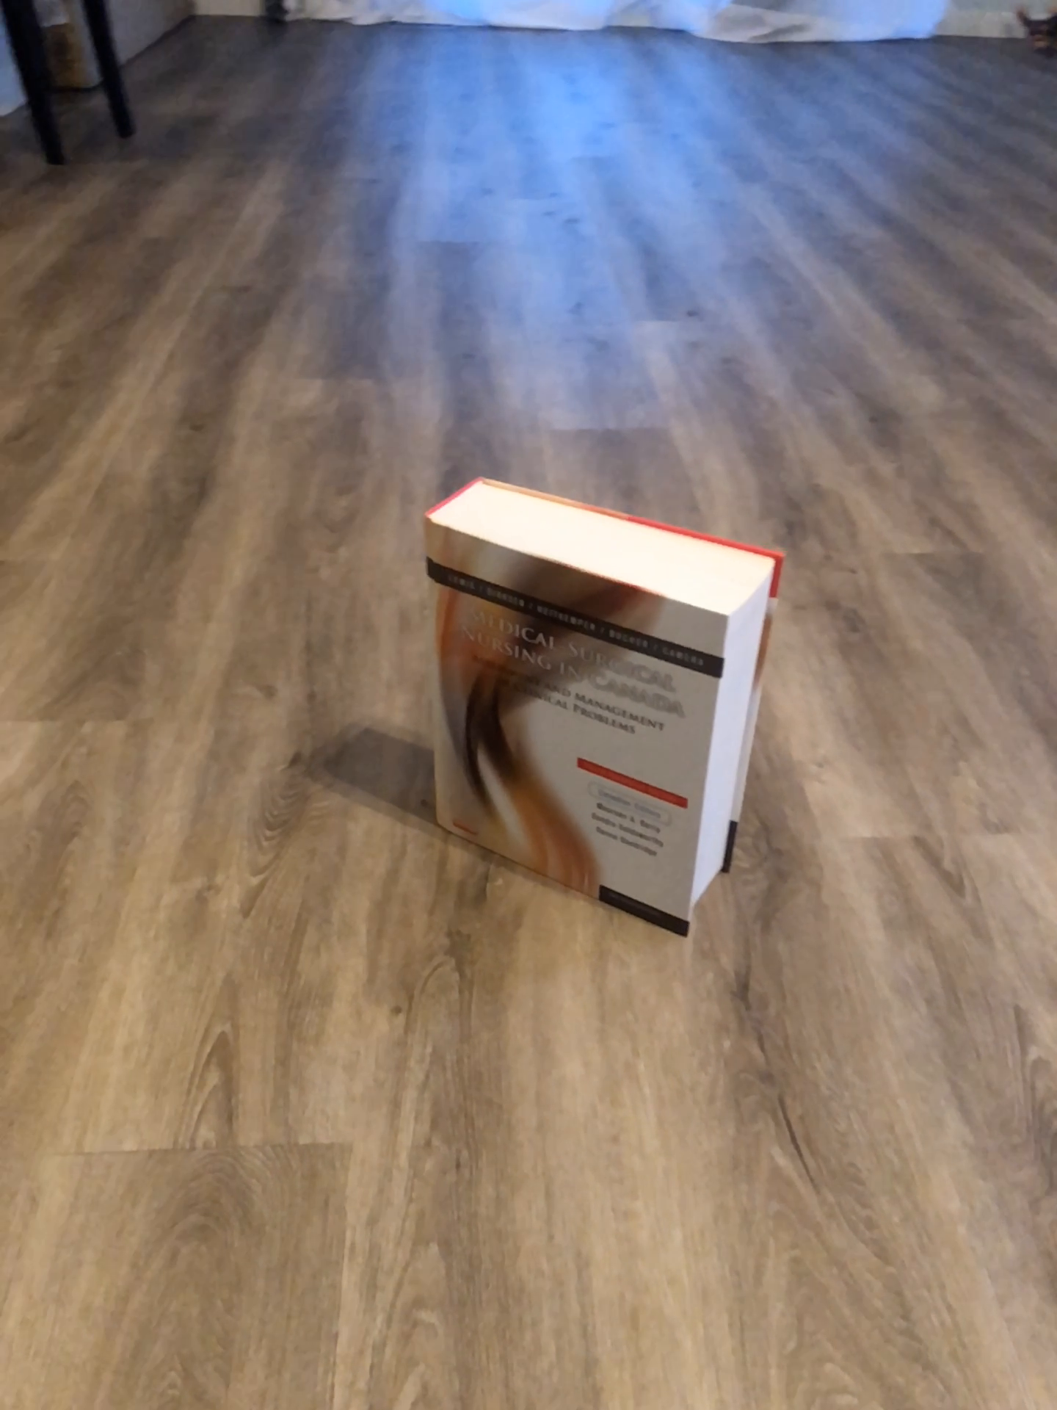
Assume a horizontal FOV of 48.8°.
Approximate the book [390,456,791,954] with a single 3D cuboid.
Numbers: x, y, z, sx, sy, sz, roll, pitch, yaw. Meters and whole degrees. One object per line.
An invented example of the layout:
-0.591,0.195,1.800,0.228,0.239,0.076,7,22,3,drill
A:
0.035,0.002,0.822,0.240,0.290,0.087,20,41,23,book
